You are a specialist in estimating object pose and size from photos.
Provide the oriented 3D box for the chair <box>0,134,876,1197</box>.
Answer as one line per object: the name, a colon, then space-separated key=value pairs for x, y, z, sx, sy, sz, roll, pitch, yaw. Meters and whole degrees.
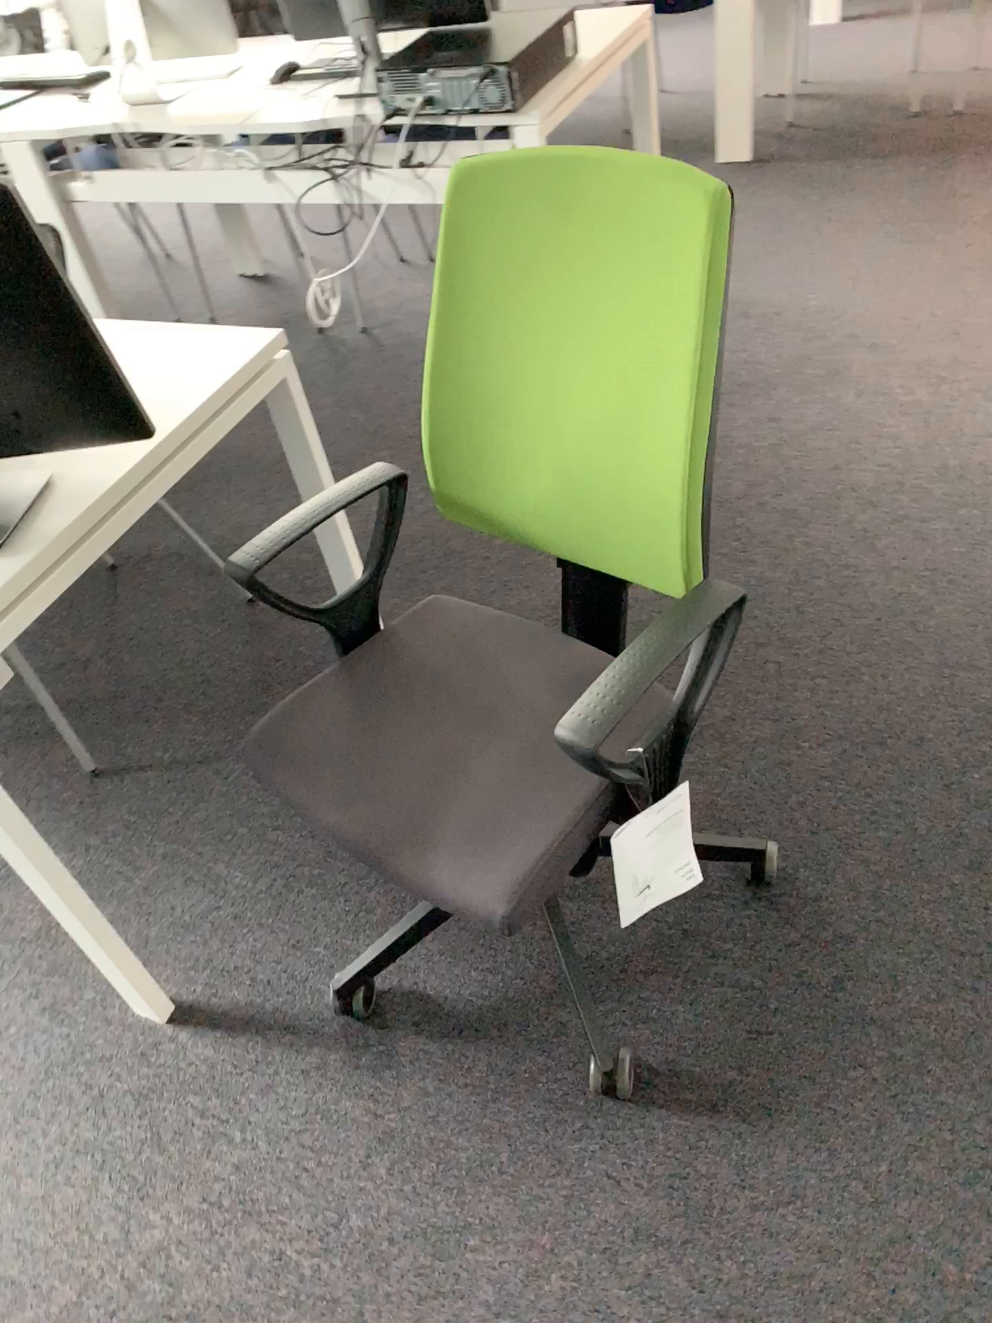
chair: x=-0.003 y=0.003 z=1.355 sx=0.621 sy=1.045 sz=0.762 roll=23 pitch=53 yaw=32
